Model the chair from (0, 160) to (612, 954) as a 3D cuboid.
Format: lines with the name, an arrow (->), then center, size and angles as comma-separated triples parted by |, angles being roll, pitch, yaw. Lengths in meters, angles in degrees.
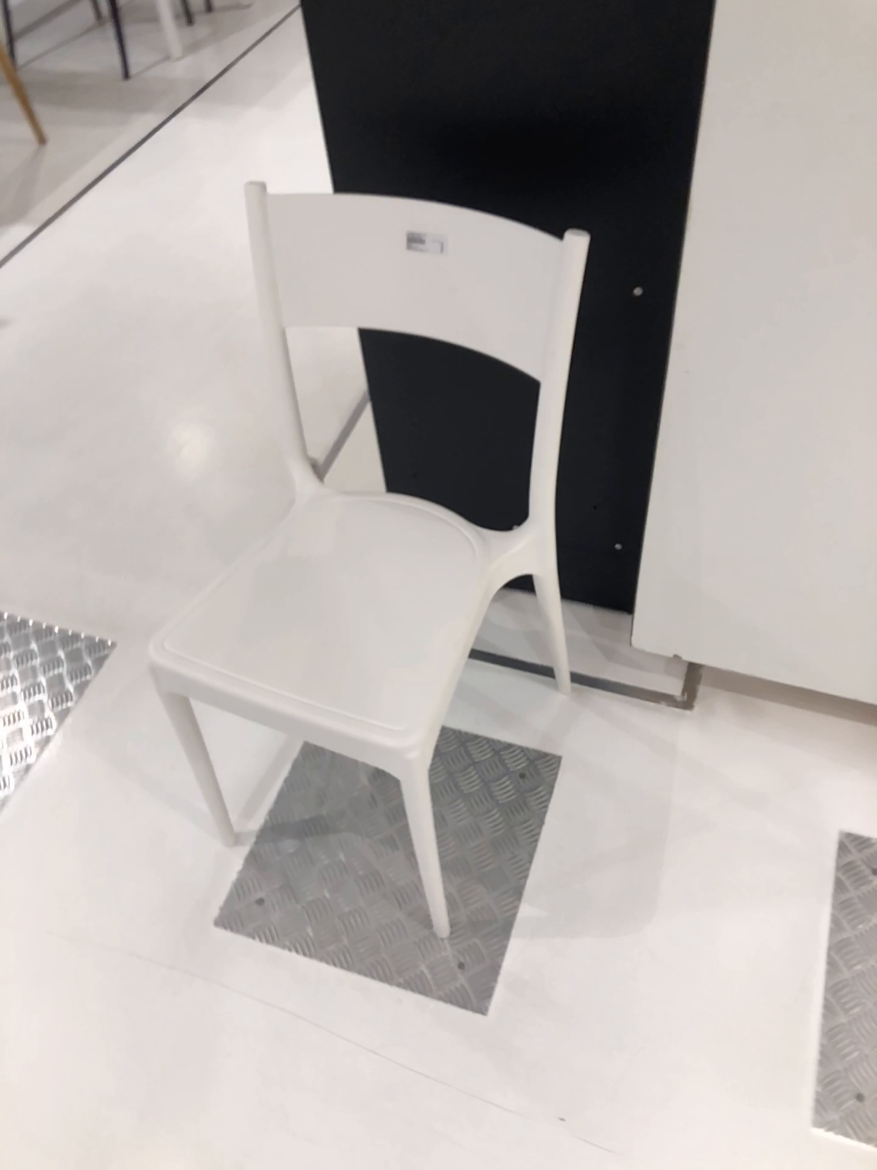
chair -> -0.084, -0.002, 1.171 | 0.410, 0.765, 0.482 | 16, 52, 19
